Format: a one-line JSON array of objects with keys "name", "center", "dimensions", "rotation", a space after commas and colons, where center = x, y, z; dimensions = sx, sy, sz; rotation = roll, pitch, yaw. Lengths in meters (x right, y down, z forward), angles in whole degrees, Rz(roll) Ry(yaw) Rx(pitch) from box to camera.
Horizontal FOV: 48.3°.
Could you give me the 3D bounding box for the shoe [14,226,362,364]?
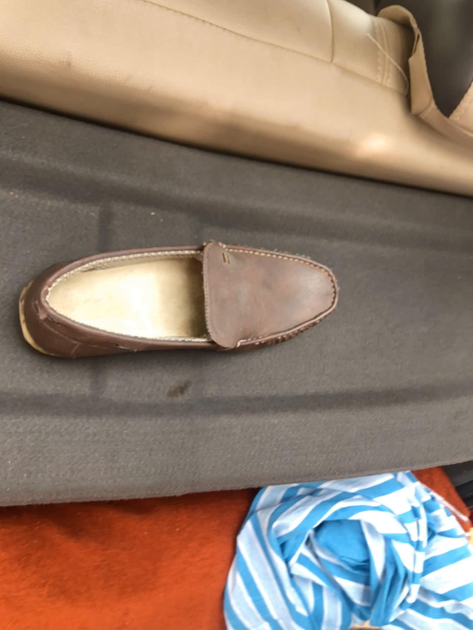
[{"name": "shoe", "center": [-0.029, -0.012, 0.407], "dimensions": [0.261, 0.050, 0.080], "rotation": [0, 73, -27]}]
